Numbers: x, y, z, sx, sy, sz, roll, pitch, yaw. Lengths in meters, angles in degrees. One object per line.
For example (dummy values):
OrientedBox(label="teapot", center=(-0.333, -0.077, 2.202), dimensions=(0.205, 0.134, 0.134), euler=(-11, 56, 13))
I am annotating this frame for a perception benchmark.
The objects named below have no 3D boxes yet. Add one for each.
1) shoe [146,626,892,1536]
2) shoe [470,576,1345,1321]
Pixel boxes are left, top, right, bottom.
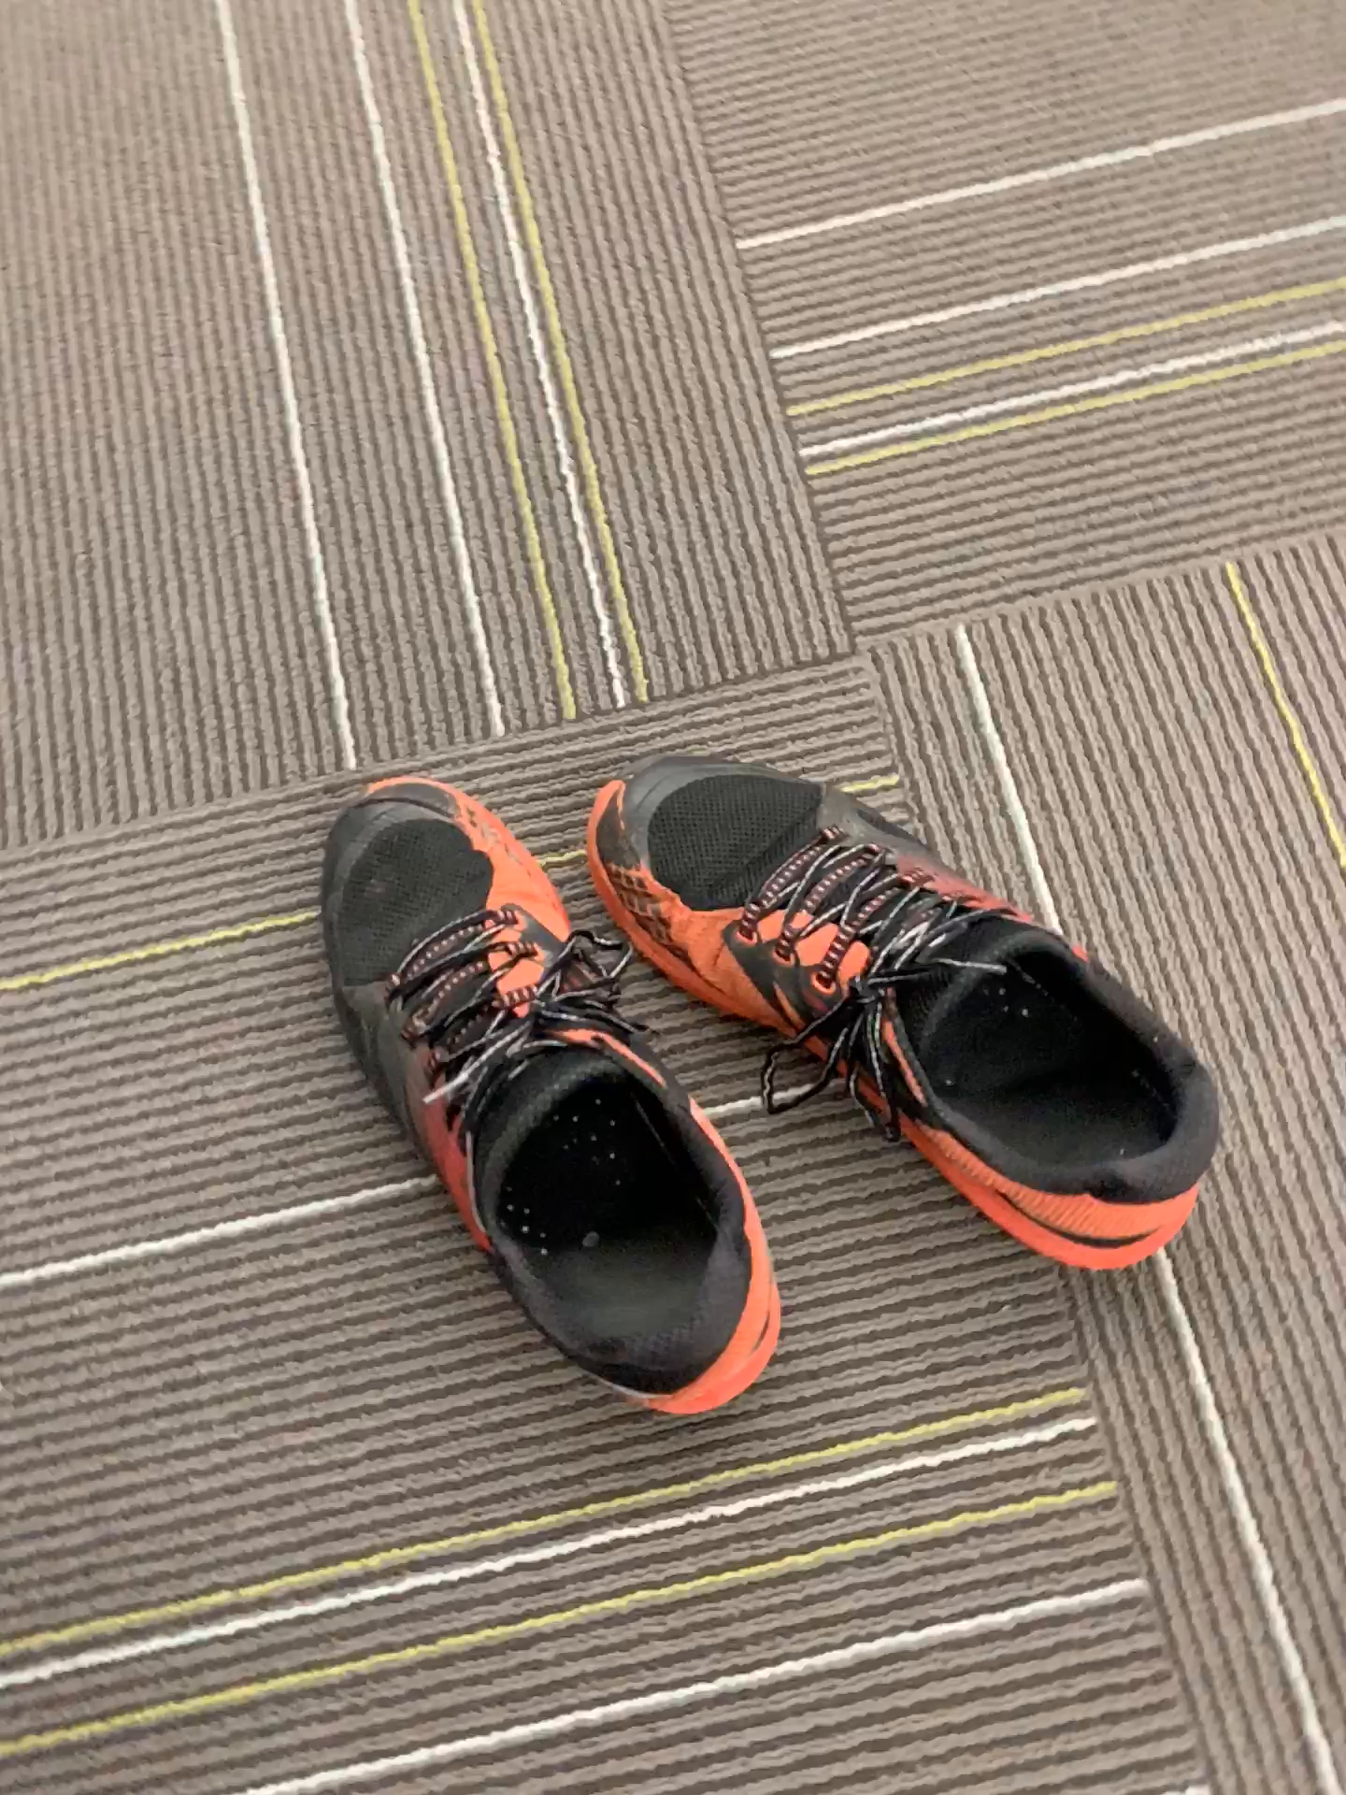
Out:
OrientedBox(label="shoe", center=(-0.063, 0.070, 0.568), dimensions=(0.130, 0.130, 0.320), euler=(-33, 74, -7))
OrientedBox(label="shoe", center=(0.086, 0.025, 0.577), dimensions=(0.310, 0.130, 0.130), euler=(36, 78, 13))
